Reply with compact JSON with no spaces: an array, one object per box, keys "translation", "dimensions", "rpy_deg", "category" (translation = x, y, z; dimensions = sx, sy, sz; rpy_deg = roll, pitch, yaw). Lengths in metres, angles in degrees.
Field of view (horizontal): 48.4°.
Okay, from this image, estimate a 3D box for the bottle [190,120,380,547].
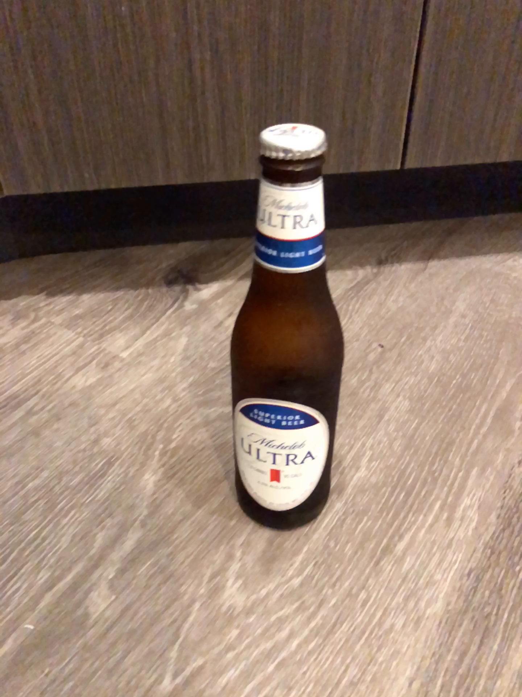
[{"translation":[0.013,0.004,0.292],"dimensions":[0.060,0.209,0.060],"rpy_deg":[0,37,0],"category":"bottle"}]
